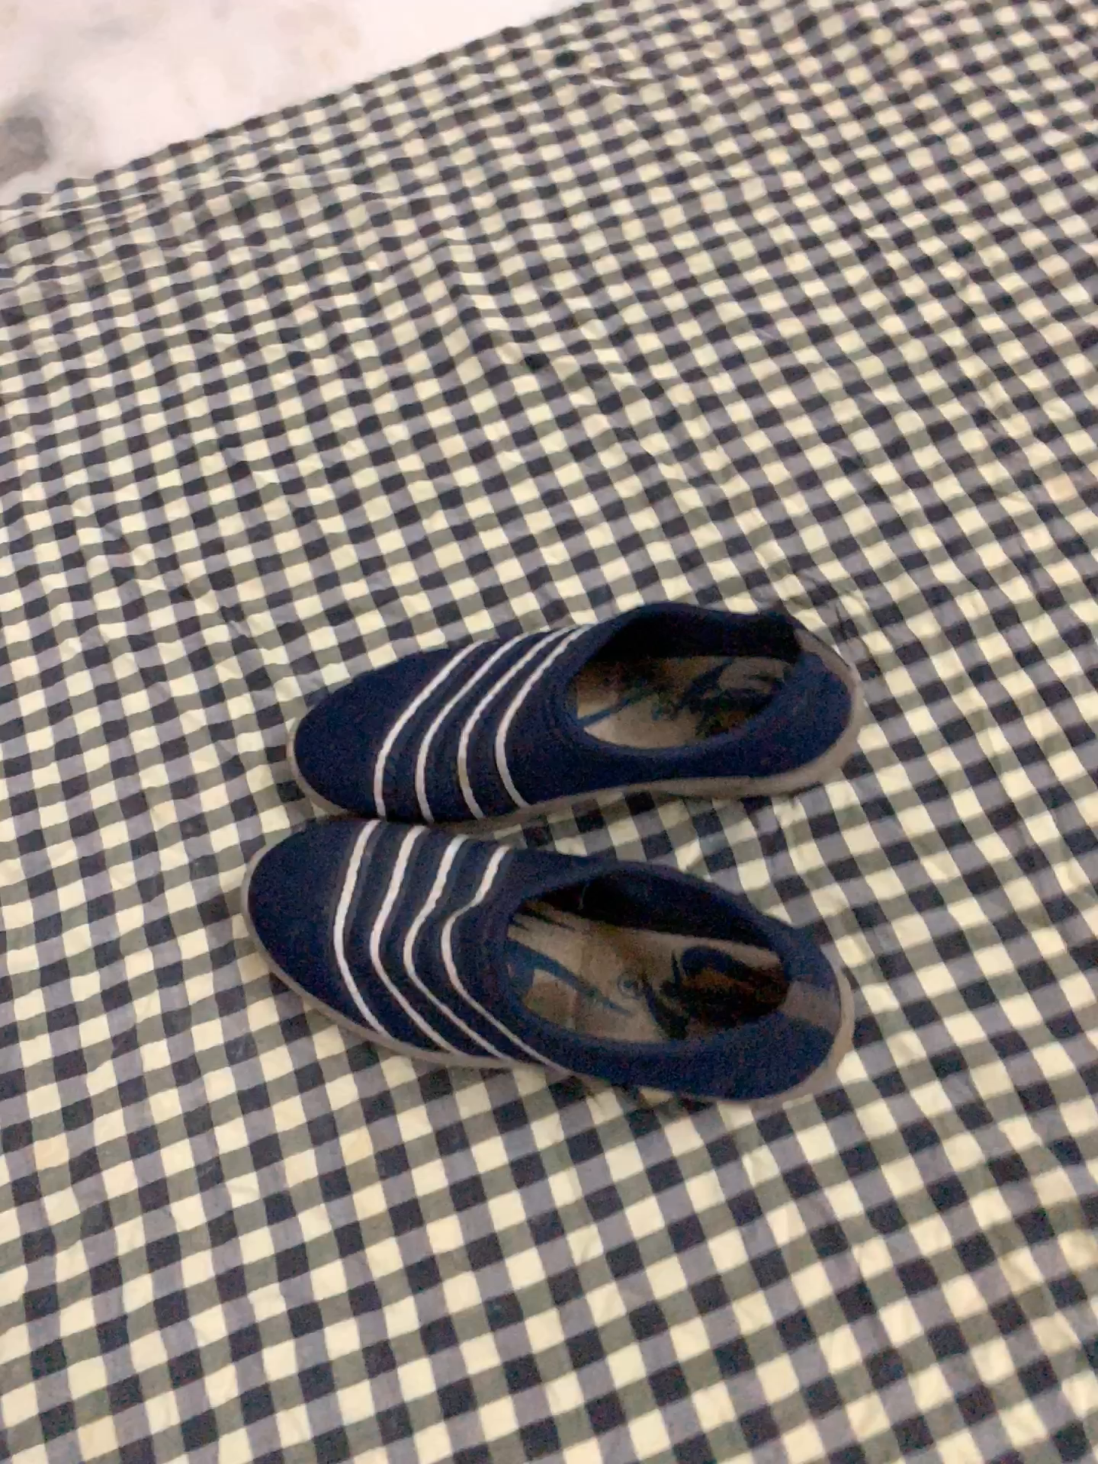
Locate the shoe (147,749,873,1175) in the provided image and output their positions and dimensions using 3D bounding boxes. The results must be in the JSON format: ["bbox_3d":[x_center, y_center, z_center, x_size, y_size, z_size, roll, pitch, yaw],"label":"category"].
[{"bbox_3d":[-0.012,0.093,0.452,0.250,0.100,0.090,12,67,11],"label":"shoe"}]

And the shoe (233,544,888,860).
[{"bbox_3d":[0.004,-0.009,0.487,0.250,0.090,0.090,-4,65,4],"label":"shoe"}]
